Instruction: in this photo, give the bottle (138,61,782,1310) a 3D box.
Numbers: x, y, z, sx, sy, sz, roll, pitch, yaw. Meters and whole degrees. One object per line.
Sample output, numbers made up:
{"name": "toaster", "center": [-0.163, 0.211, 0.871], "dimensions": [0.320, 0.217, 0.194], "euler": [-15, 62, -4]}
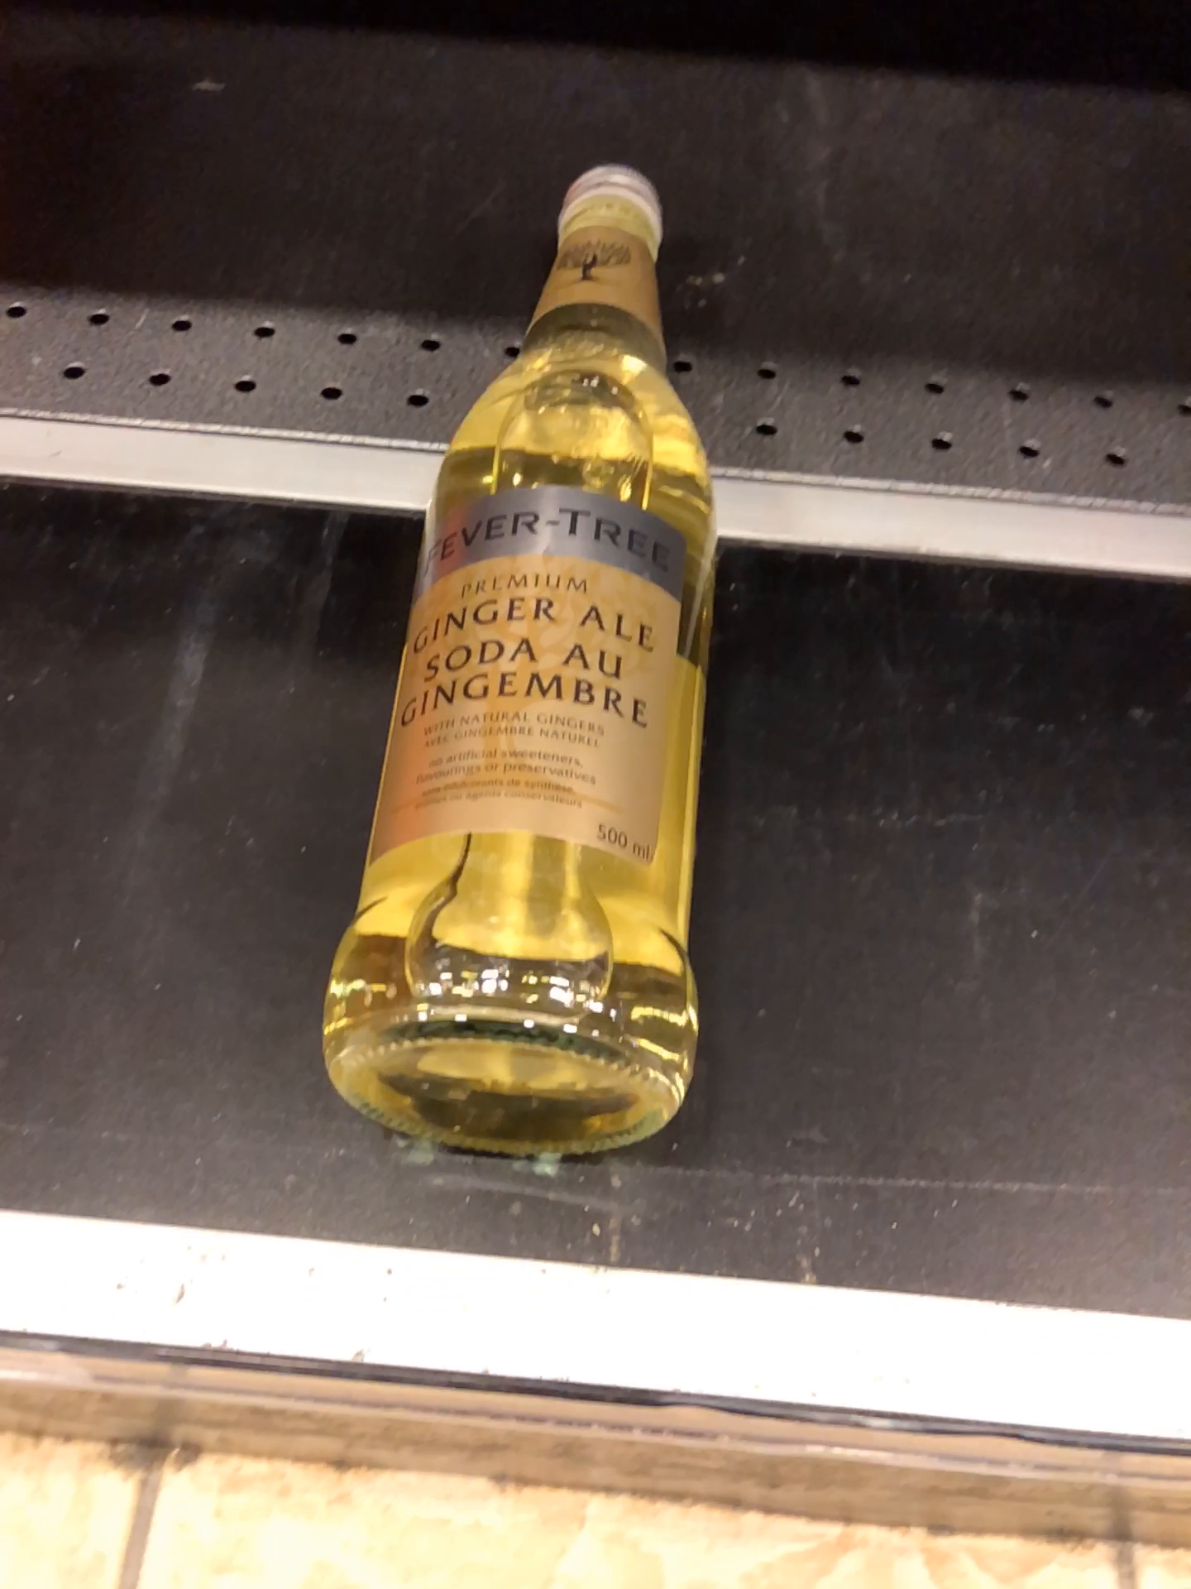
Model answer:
{"name": "bottle", "center": [-0.010, -0.044, 0.301], "dimensions": [0.090, 0.090, 0.281], "euler": [5, 56, 1]}
